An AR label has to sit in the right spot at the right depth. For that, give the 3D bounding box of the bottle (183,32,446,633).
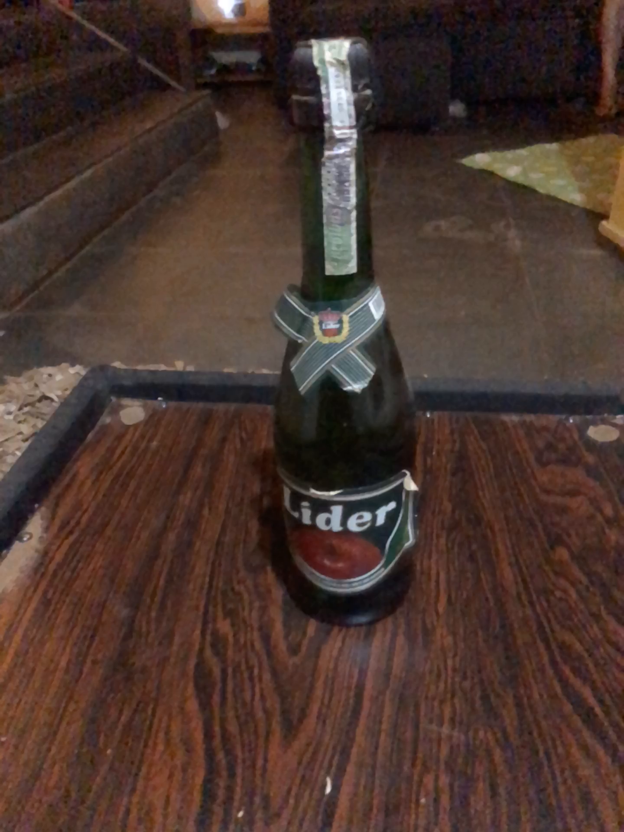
[{"bbox_3d":[0.013,-0.025,0.348,0.090,0.288,0.081,4,33,11],"label":"bottle"}]
